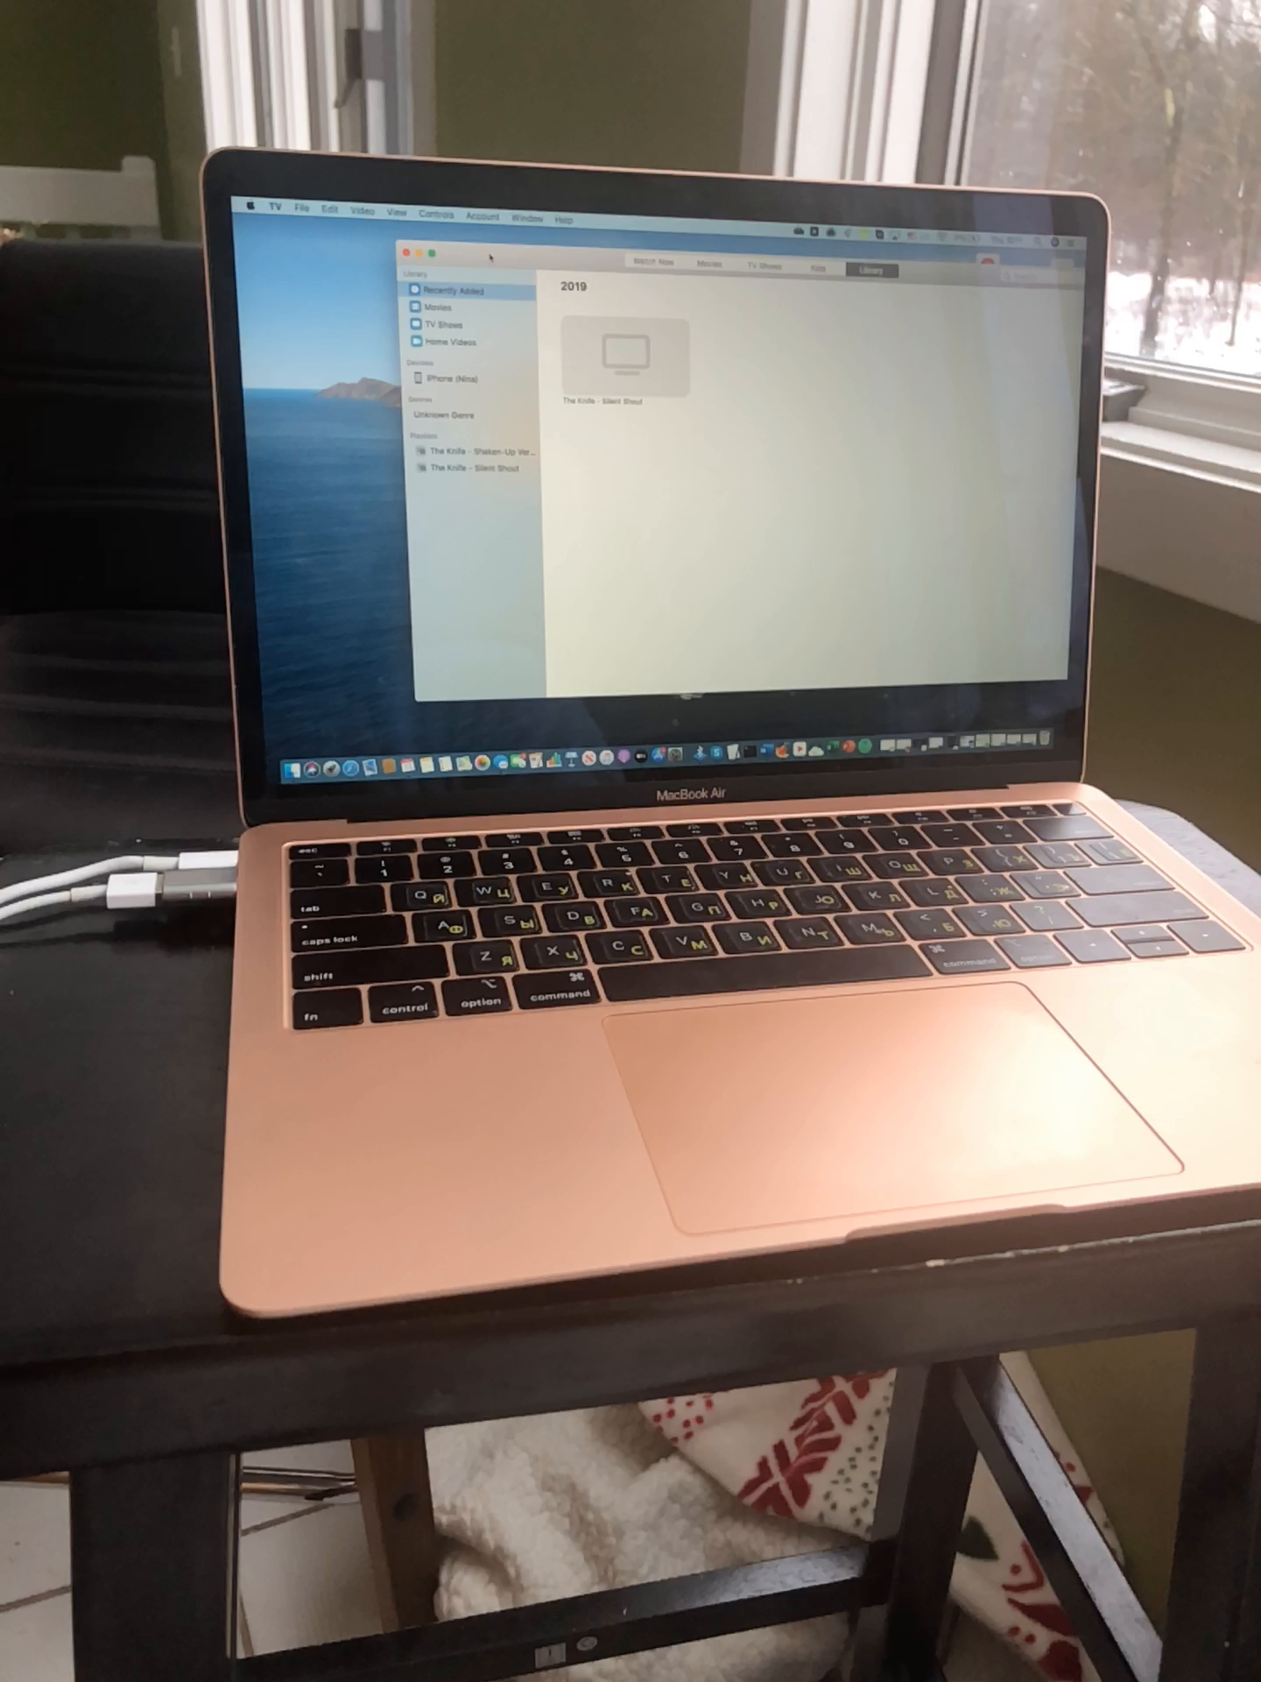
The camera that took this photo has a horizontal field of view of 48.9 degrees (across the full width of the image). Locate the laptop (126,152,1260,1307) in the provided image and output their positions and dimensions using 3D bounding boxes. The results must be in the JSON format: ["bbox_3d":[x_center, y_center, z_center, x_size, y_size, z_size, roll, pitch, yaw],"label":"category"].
[{"bbox_3d":[0.044,-0.068,0.375,0.298,0.196,0.265,-3,26,-13],"label":"laptop"}]
